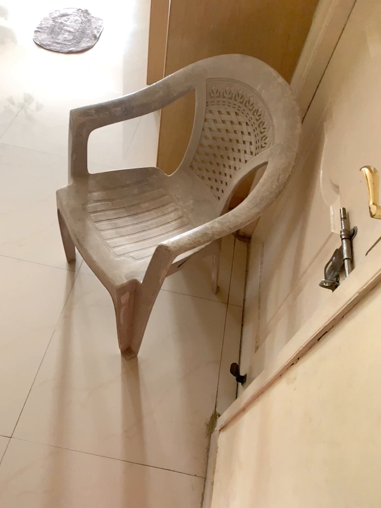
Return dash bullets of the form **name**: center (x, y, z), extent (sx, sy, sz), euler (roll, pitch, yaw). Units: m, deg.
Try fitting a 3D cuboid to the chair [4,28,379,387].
- **chair**: center (-0.050, -0.133, 1.202), extent (0.672, 0.725, 0.613), euler (-22, 61, -23)
